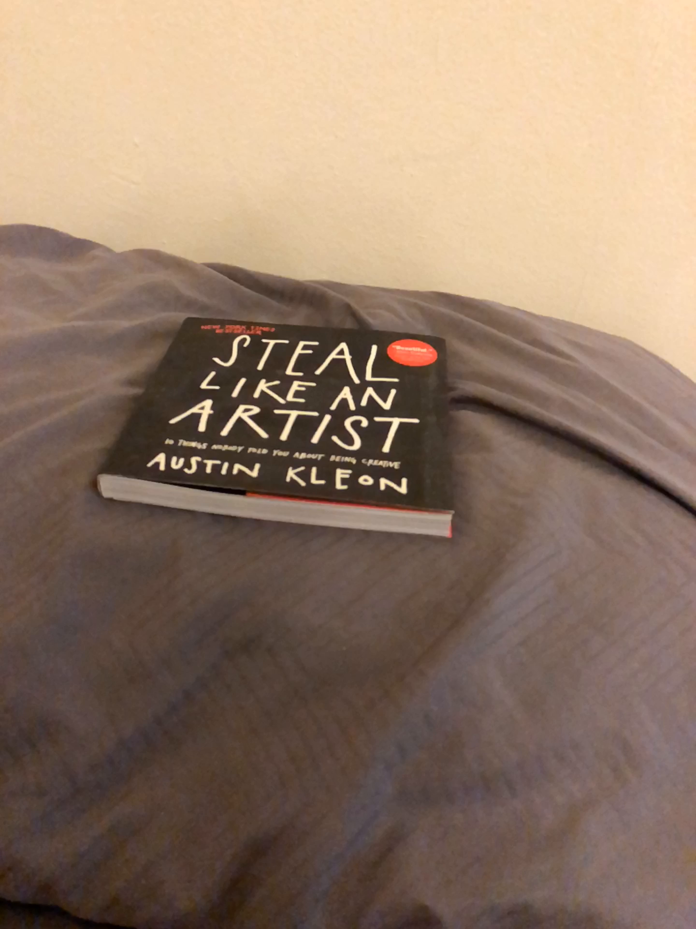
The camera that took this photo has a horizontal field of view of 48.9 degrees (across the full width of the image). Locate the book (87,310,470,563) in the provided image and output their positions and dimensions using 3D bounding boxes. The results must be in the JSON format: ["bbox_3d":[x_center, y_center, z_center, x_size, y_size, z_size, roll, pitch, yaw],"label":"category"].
[{"bbox_3d":[-0.024,-0.024,0.387,0.160,0.020,0.161,7,38,1],"label":"book"}]
